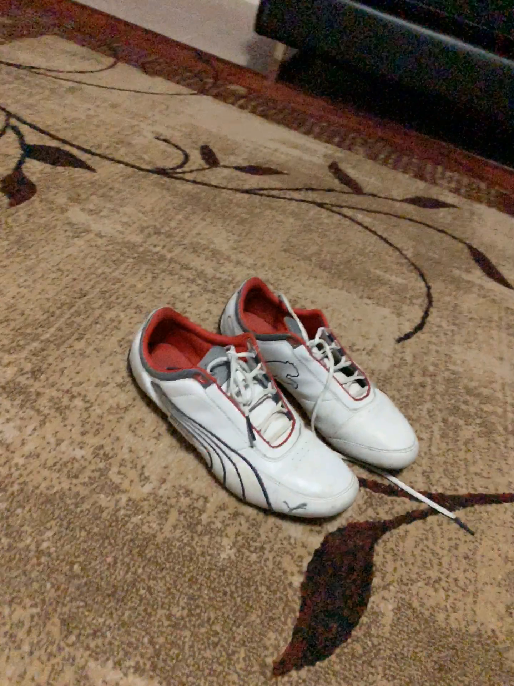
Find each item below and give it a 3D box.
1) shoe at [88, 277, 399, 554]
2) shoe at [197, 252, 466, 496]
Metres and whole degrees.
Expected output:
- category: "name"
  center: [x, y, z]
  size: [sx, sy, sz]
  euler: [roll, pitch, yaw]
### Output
- category: "shoe"
  center: [-0.021, 0.054, 0.498]
  size: [0.281, 0.070, 0.100]
  euler: [34, 42, 17]
- category: "shoe"
  center: [0.069, 0.017, 0.575]
  size: [0.104, 0.070, 0.281]
  euler: [-25, 57, -40]
